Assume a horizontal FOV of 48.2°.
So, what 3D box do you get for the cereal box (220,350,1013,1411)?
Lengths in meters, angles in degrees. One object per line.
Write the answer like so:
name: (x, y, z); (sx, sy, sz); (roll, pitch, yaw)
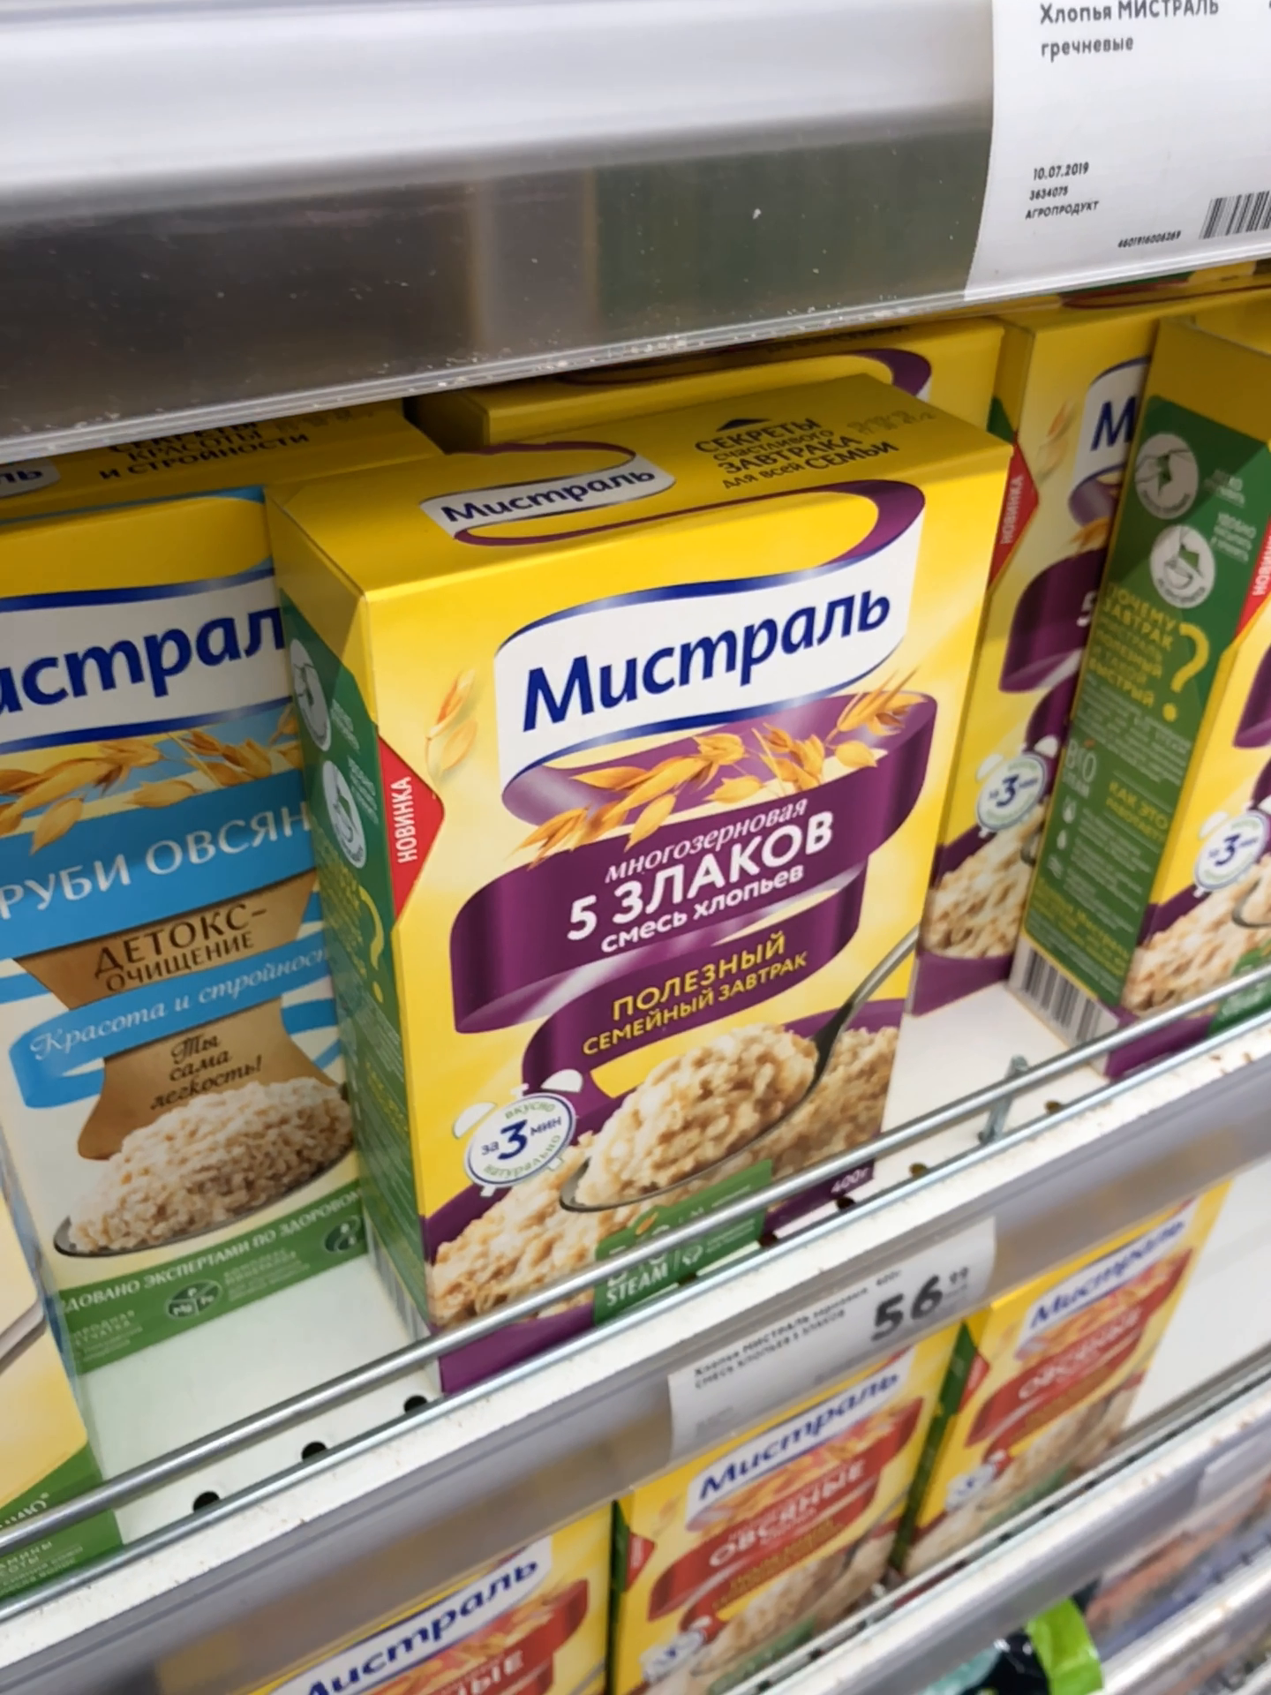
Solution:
cereal box: (-0.002, 0.014, 0.309); (0.130, 0.209, 0.050); (-19, 42, -25)
